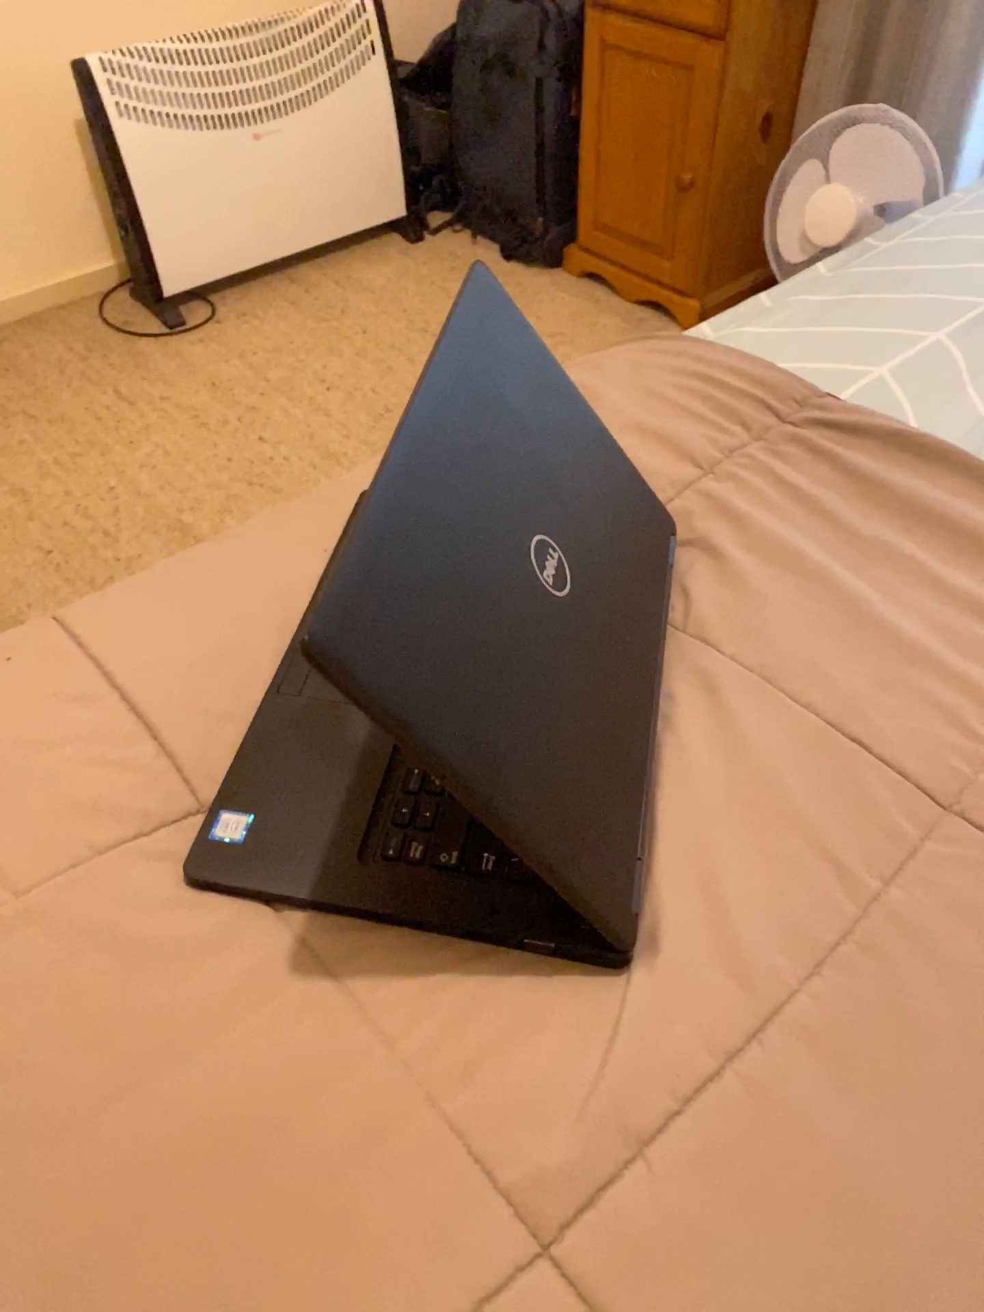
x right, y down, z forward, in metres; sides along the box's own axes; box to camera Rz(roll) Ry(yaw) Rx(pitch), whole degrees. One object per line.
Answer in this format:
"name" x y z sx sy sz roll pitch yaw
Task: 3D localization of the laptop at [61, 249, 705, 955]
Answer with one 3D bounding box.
"laptop" -0.018 -0.052 0.546 0.226 0.183 0.336 8 46 7
